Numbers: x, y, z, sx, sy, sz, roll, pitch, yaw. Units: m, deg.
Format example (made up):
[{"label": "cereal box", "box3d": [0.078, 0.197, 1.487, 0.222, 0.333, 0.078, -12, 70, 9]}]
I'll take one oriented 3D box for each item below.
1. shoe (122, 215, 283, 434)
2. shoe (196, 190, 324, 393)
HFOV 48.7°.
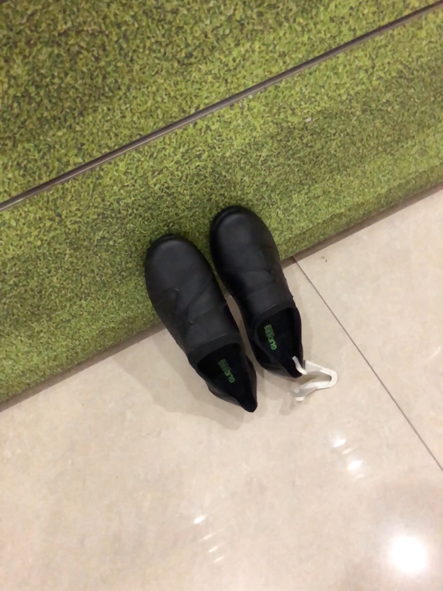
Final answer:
[{"label": "shoe", "box3d": [-0.025, 0.034, 0.622, 0.087, 0.248, 0.107, -29, 19, -4]}, {"label": "shoe", "box3d": [0.049, -0.001, 0.595, 0.074, 0.229, 0.067, -23, 24, -2]}]
